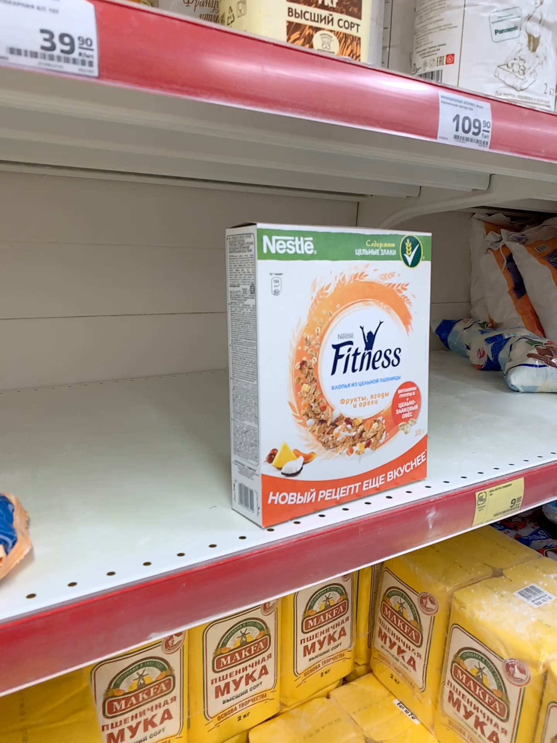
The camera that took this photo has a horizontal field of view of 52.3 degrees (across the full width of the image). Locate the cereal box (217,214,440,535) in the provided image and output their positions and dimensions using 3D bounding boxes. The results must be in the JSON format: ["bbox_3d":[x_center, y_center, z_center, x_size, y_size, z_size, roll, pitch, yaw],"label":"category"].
[{"bbox_3d":[0.052,-0.006,0.503,0.200,0.239,0.060,-6,8,-35],"label":"cereal box"}]
